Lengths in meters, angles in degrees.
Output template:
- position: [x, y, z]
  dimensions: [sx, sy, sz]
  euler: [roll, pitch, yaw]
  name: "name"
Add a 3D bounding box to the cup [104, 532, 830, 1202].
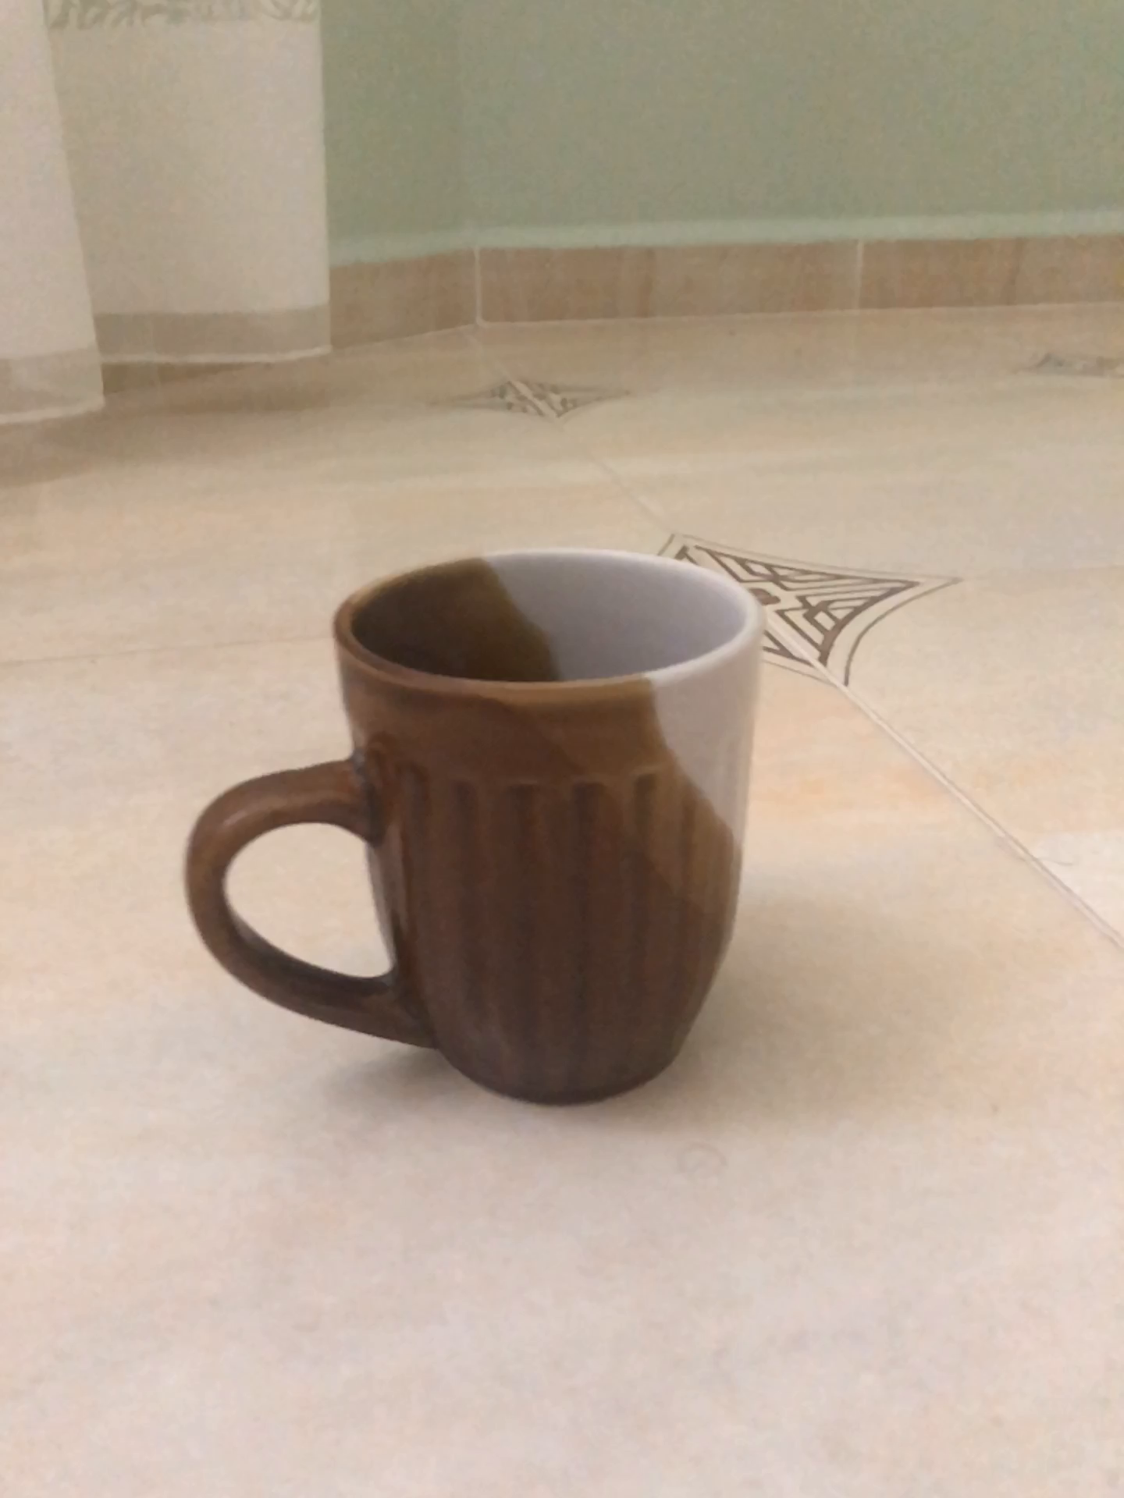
- position: [-0.017, 0.015, 0.228]
  dimensions: [0.103, 0.086, 0.076]
  euler: [-5, 25, -8]
  name: "cup"
